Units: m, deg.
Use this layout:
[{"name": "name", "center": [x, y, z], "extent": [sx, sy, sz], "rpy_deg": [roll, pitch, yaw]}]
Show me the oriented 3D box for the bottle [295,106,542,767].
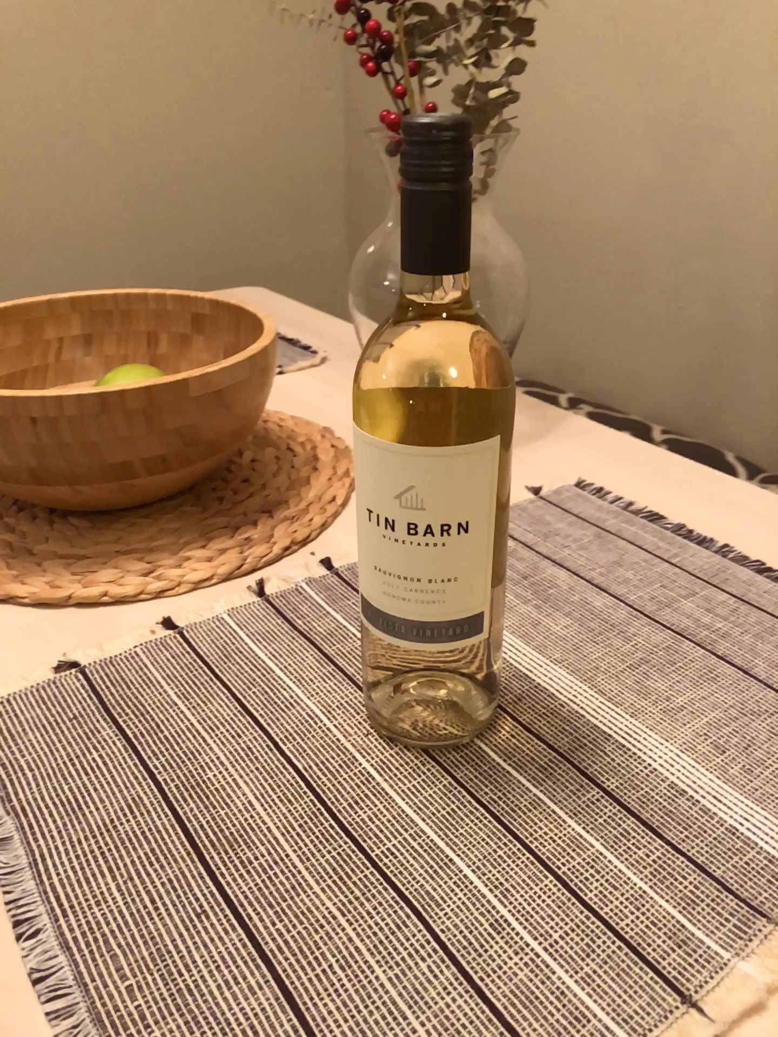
[{"name": "bottle", "center": [0.017, -0.030, 0.410], "extent": [0.080, 0.298, 0.080], "rpy_deg": [0, 27, 0]}]
